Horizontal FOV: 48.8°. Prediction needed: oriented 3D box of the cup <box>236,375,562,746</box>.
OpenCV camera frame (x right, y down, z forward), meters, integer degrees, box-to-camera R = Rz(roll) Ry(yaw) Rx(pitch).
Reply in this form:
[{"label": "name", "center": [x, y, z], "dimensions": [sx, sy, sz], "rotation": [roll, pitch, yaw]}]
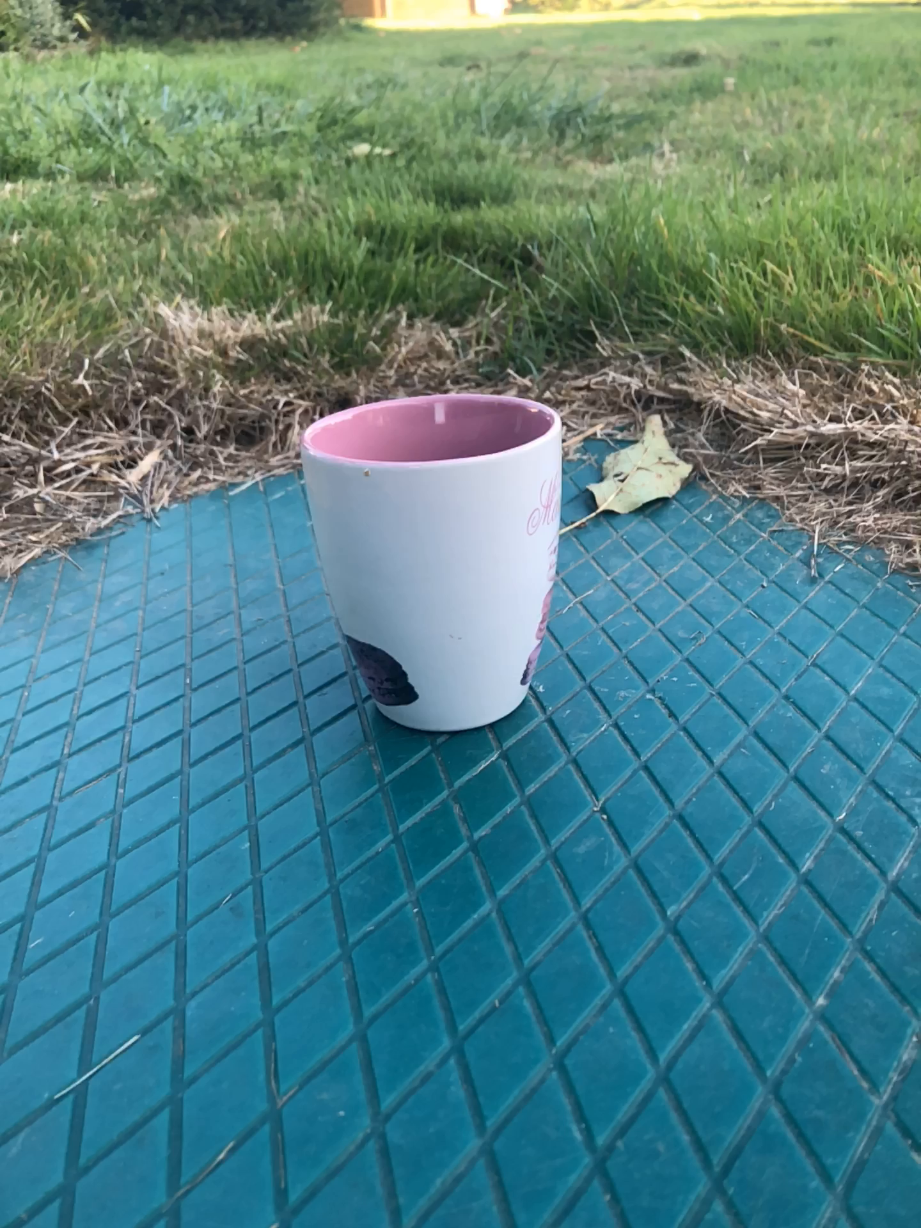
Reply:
[{"label": "cup", "center": [-0.012, -0.025, 0.374], "dimensions": [0.095, 0.091, 0.121], "rotation": [-2, 27, 6]}]
